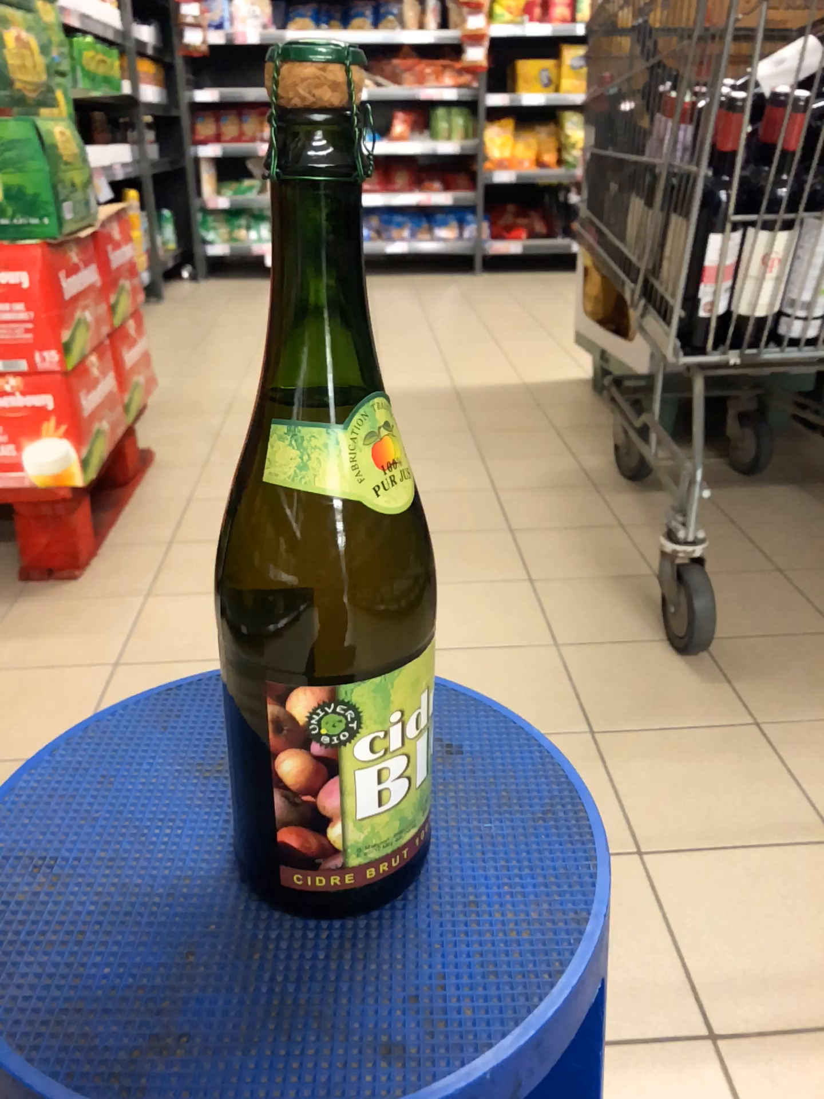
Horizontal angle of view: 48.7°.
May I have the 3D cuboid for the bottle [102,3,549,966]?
[{"bbox_3d":[-0.023,-0.014,0.316,0.090,0.288,0.090,0,24,0],"label":"bottle"}]
